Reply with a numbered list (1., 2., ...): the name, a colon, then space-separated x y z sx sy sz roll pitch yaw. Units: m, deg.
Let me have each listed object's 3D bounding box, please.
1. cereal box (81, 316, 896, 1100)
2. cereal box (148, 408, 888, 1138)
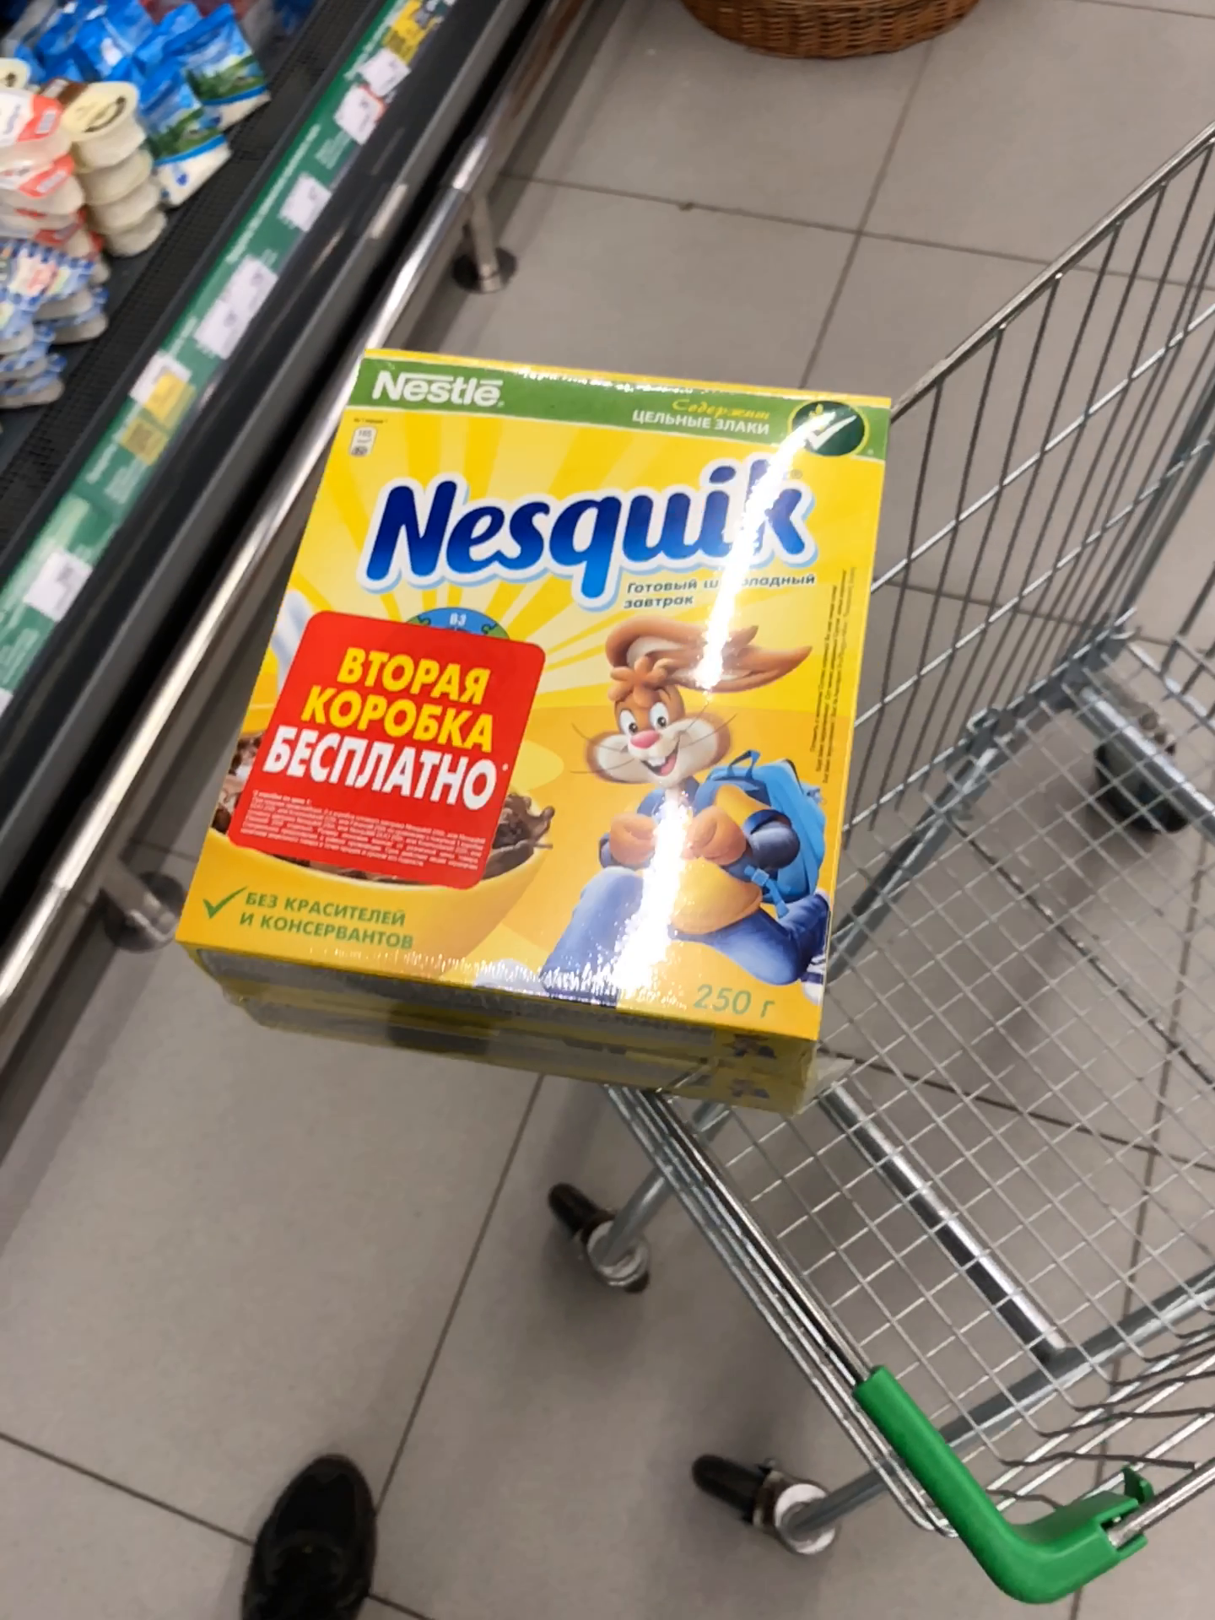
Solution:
1. cereal box: -0.024 -0.046 0.443 0.210 0.050 0.241 8 65 7
2. cereal box: -0.019 -0.024 0.483 0.210 0.050 0.241 8 65 7
